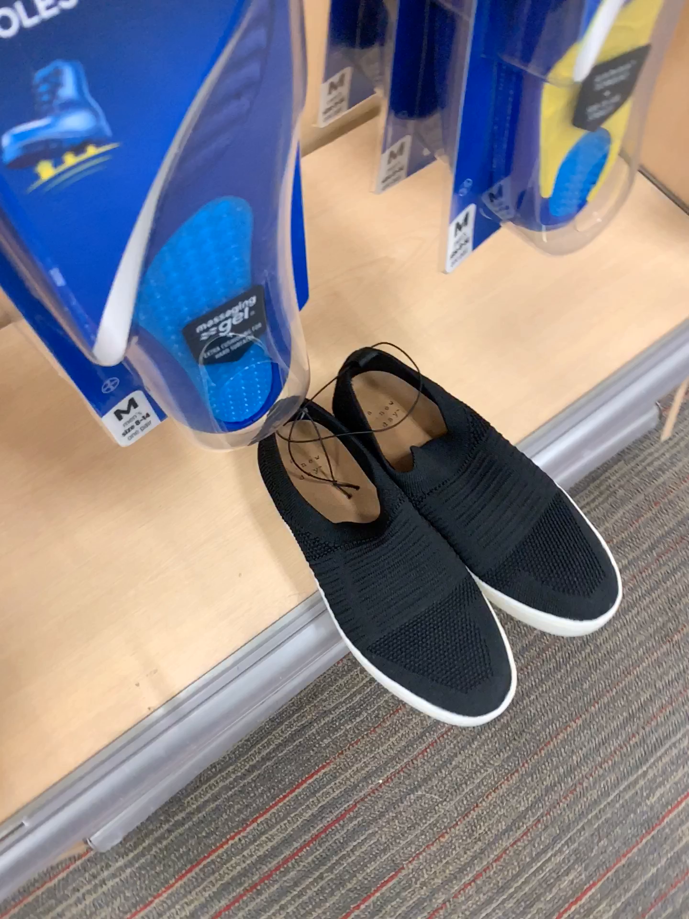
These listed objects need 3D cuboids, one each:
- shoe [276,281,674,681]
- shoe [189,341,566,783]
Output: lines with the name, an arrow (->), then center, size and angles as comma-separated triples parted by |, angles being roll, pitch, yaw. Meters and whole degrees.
shoe -> 0.078, 0.014, 0.509 | 0.100, 0.100, 0.270 | -38, 73, -14
shoe -> 0.012, 0.066, 0.487 | 0.100, 0.100, 0.270 | -32, 71, -12
